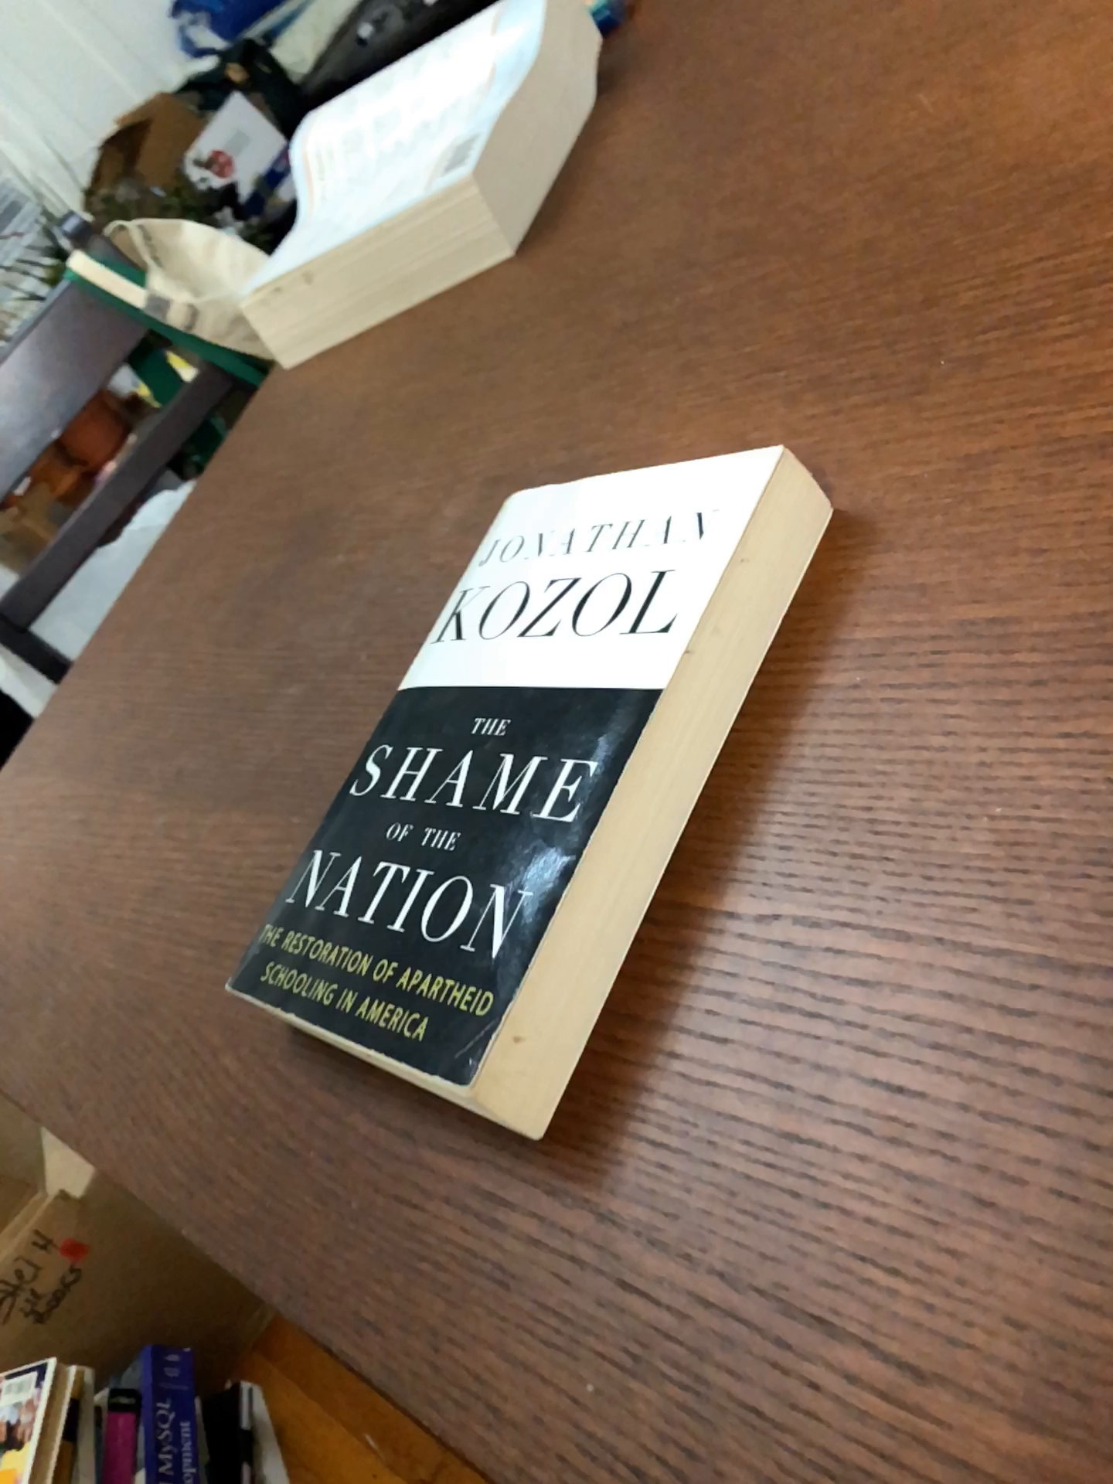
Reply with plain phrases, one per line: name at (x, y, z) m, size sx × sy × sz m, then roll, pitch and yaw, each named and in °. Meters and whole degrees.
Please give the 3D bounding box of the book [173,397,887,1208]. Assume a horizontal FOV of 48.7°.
book at (-0.013, 0.002, 0.384) m, size 0.161 × 0.030 × 0.230 m, roll 5°, pitch 61°, yaw 50°
